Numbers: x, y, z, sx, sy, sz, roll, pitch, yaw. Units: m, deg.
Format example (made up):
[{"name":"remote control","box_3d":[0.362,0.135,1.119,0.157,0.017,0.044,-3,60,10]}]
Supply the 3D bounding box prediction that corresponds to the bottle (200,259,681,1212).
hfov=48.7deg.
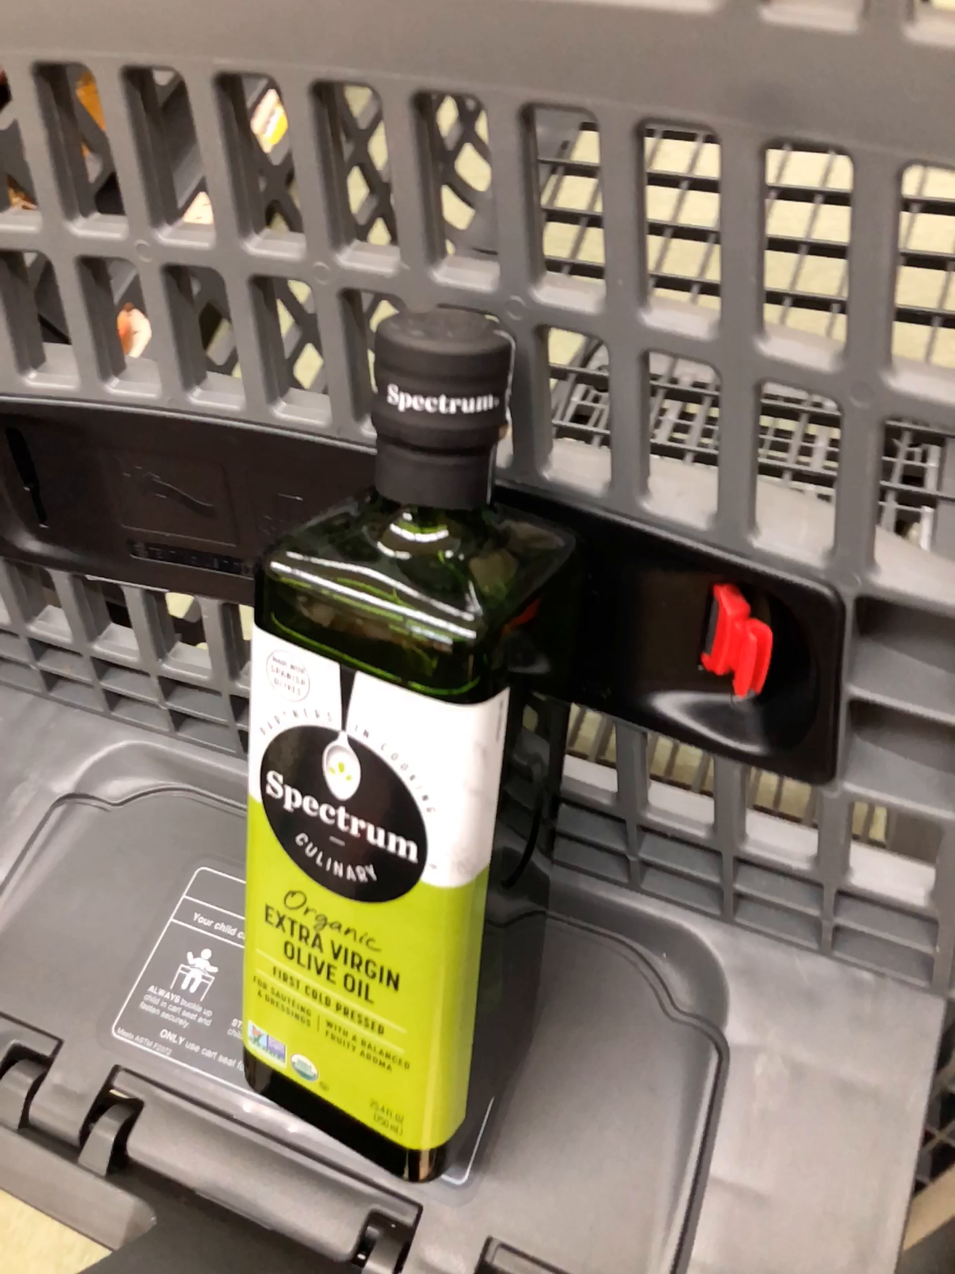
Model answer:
[{"name":"bottle","box_3d":[-0.017,0.035,0.297,0.080,0.250,0.076,5,30,-3]}]
